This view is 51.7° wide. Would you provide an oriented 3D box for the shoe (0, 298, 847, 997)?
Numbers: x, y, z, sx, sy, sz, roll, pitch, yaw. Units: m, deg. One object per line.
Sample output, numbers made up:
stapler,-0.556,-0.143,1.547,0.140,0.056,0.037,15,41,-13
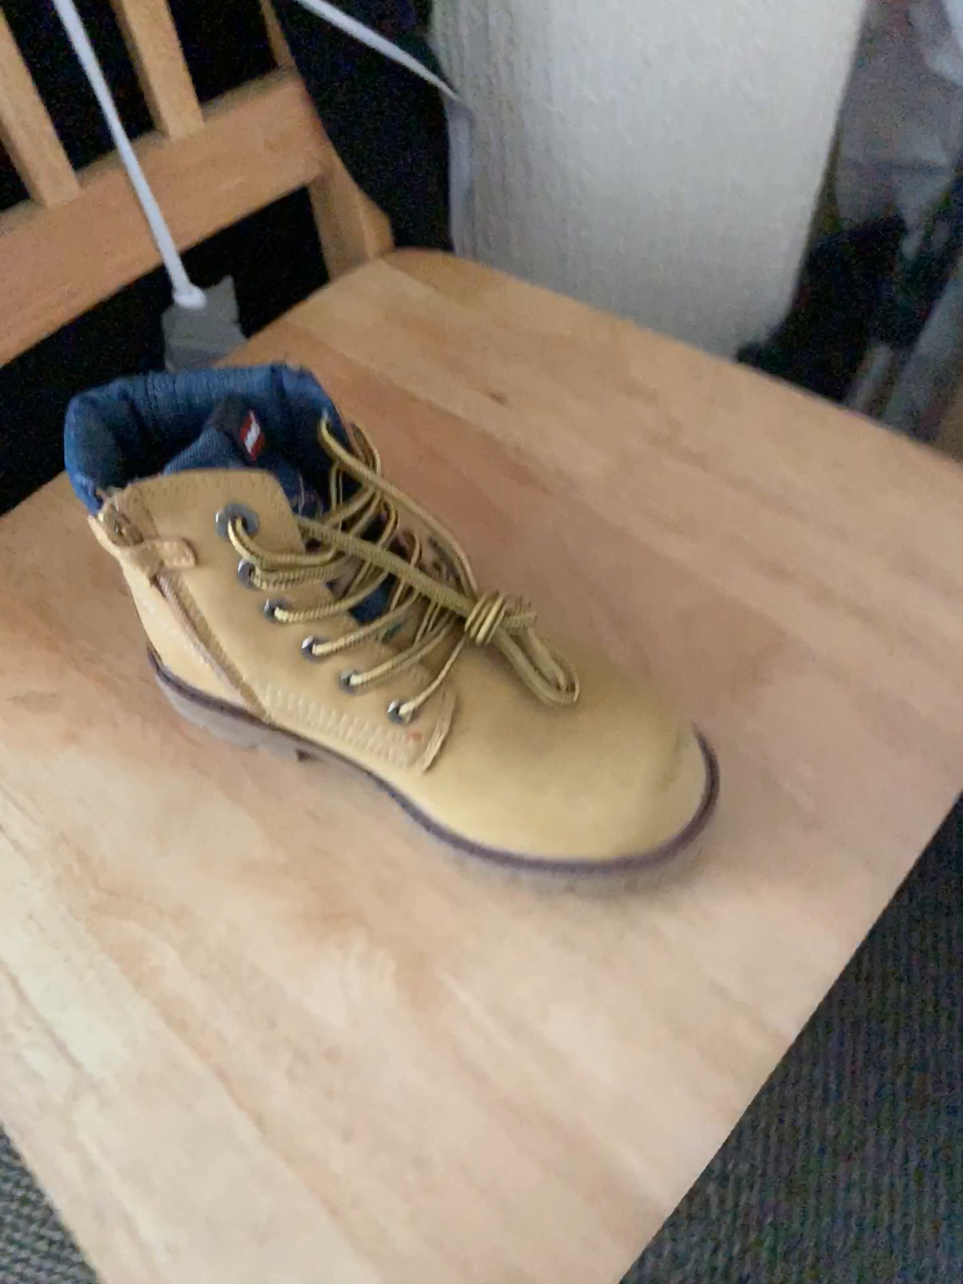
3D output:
shoe,-0.025,0.004,0.333,0.230,0.139,0.101,22,63,16
